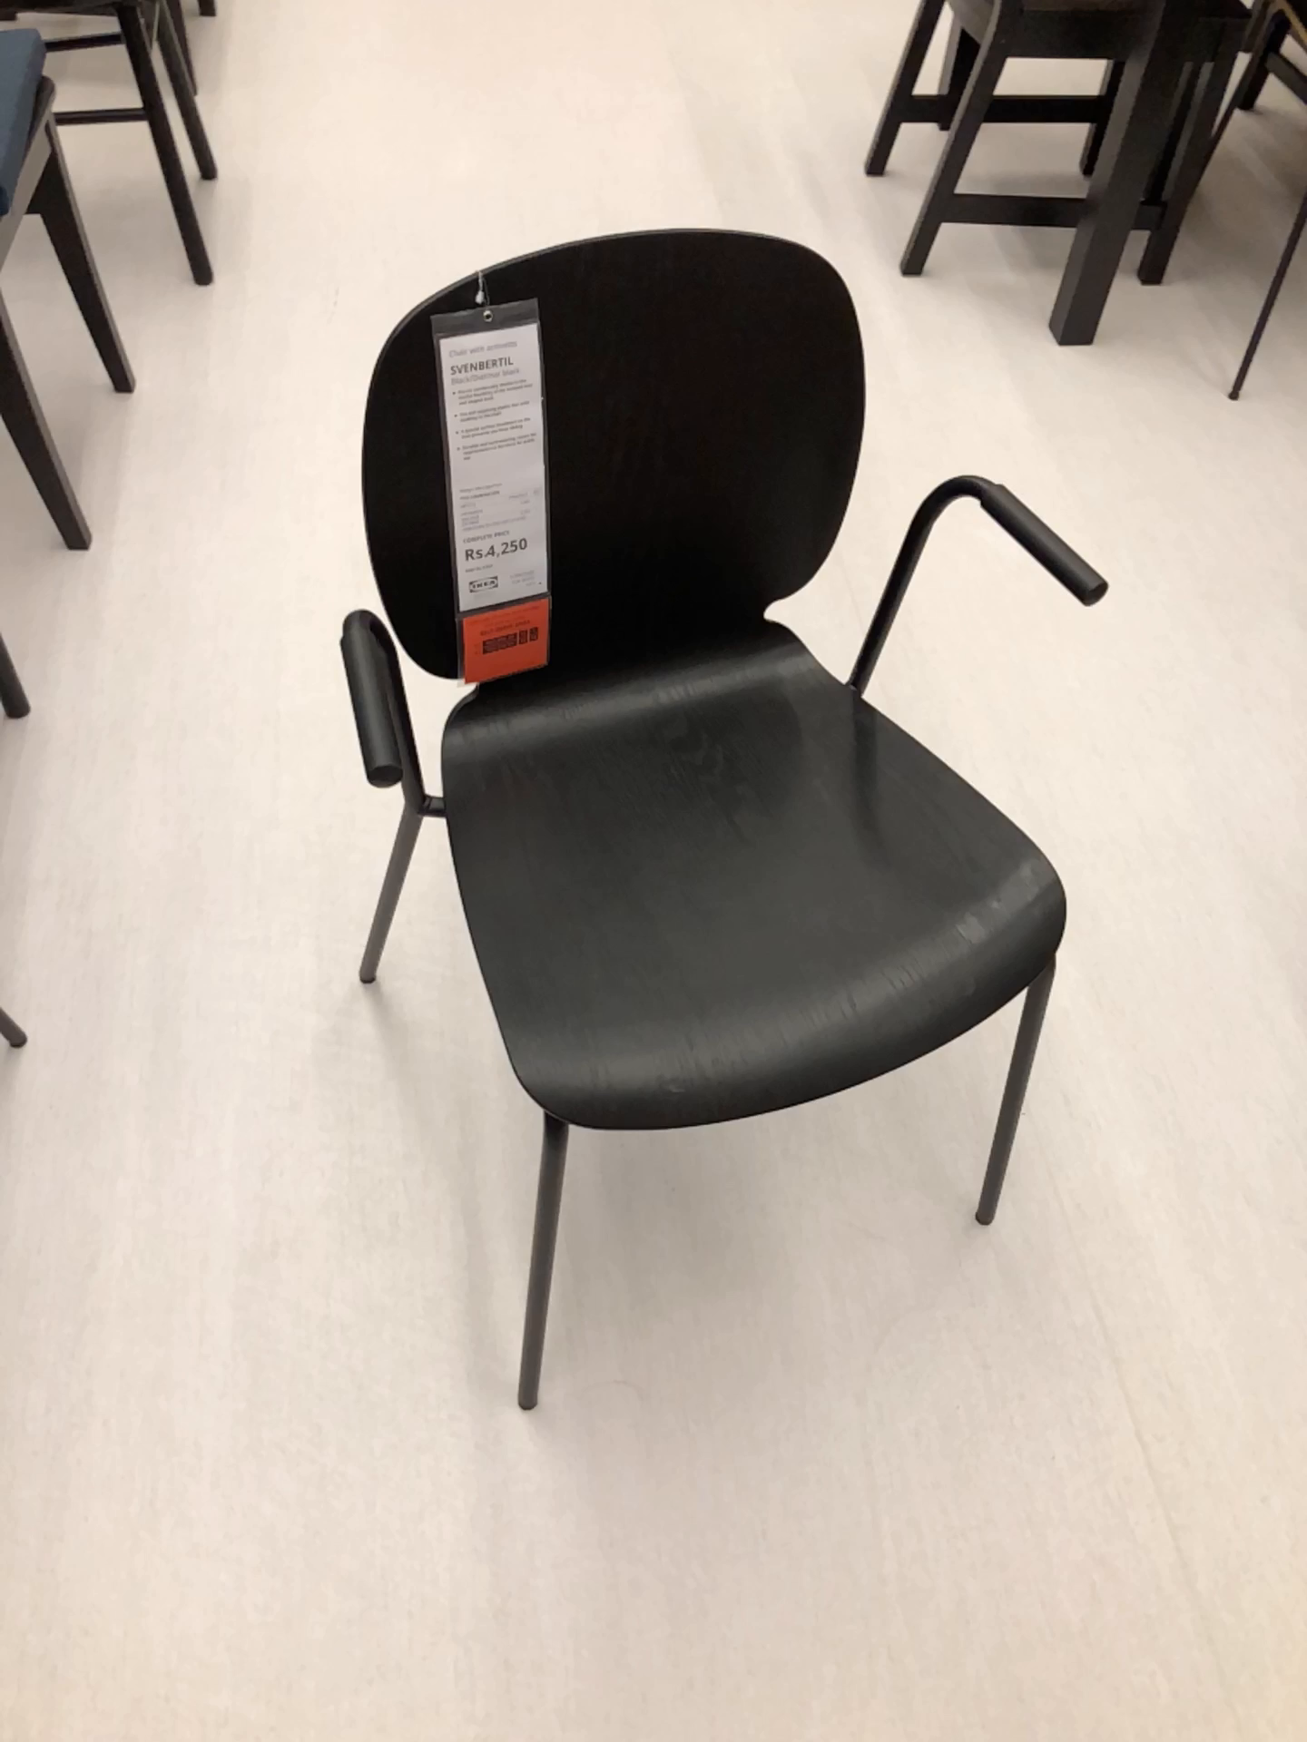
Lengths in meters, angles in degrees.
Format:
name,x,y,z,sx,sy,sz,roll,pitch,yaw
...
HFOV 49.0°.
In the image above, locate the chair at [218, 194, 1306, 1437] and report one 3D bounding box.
name,x,y,z,sx,sy,sz,roll,pitch,yaw
chair,0.037,-0.029,1.146,0.531,0.686,0.583,-15,55,-15
